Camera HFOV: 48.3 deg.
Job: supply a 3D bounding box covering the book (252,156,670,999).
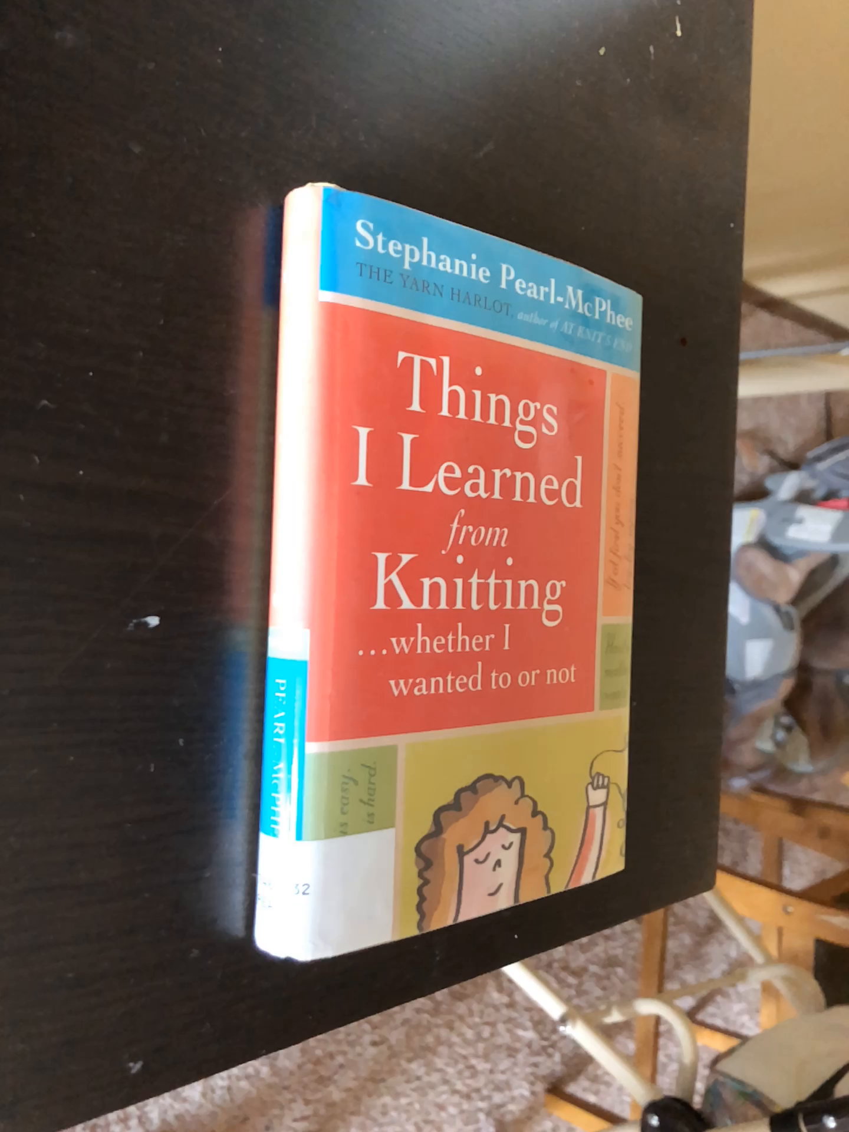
[{"bbox_3d":[0.016,0.004,0.236,0.118,0.023,0.166,2,90,-43],"label":"book"}]
